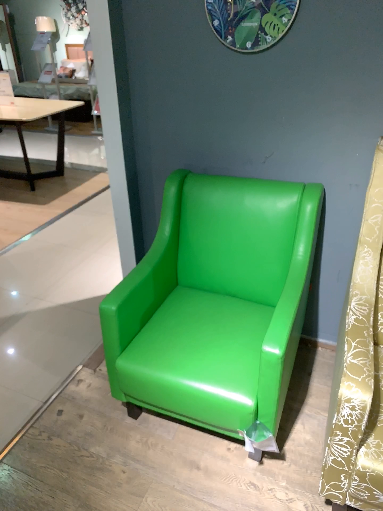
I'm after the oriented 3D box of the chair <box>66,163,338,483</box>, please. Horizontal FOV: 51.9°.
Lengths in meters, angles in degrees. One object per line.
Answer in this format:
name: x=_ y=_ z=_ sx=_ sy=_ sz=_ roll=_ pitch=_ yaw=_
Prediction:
chair: x=0.116 y=0.170 z=1.573 sx=0.711 sy=0.787 sz=0.813 roll=11 pitch=32 yaw=20
